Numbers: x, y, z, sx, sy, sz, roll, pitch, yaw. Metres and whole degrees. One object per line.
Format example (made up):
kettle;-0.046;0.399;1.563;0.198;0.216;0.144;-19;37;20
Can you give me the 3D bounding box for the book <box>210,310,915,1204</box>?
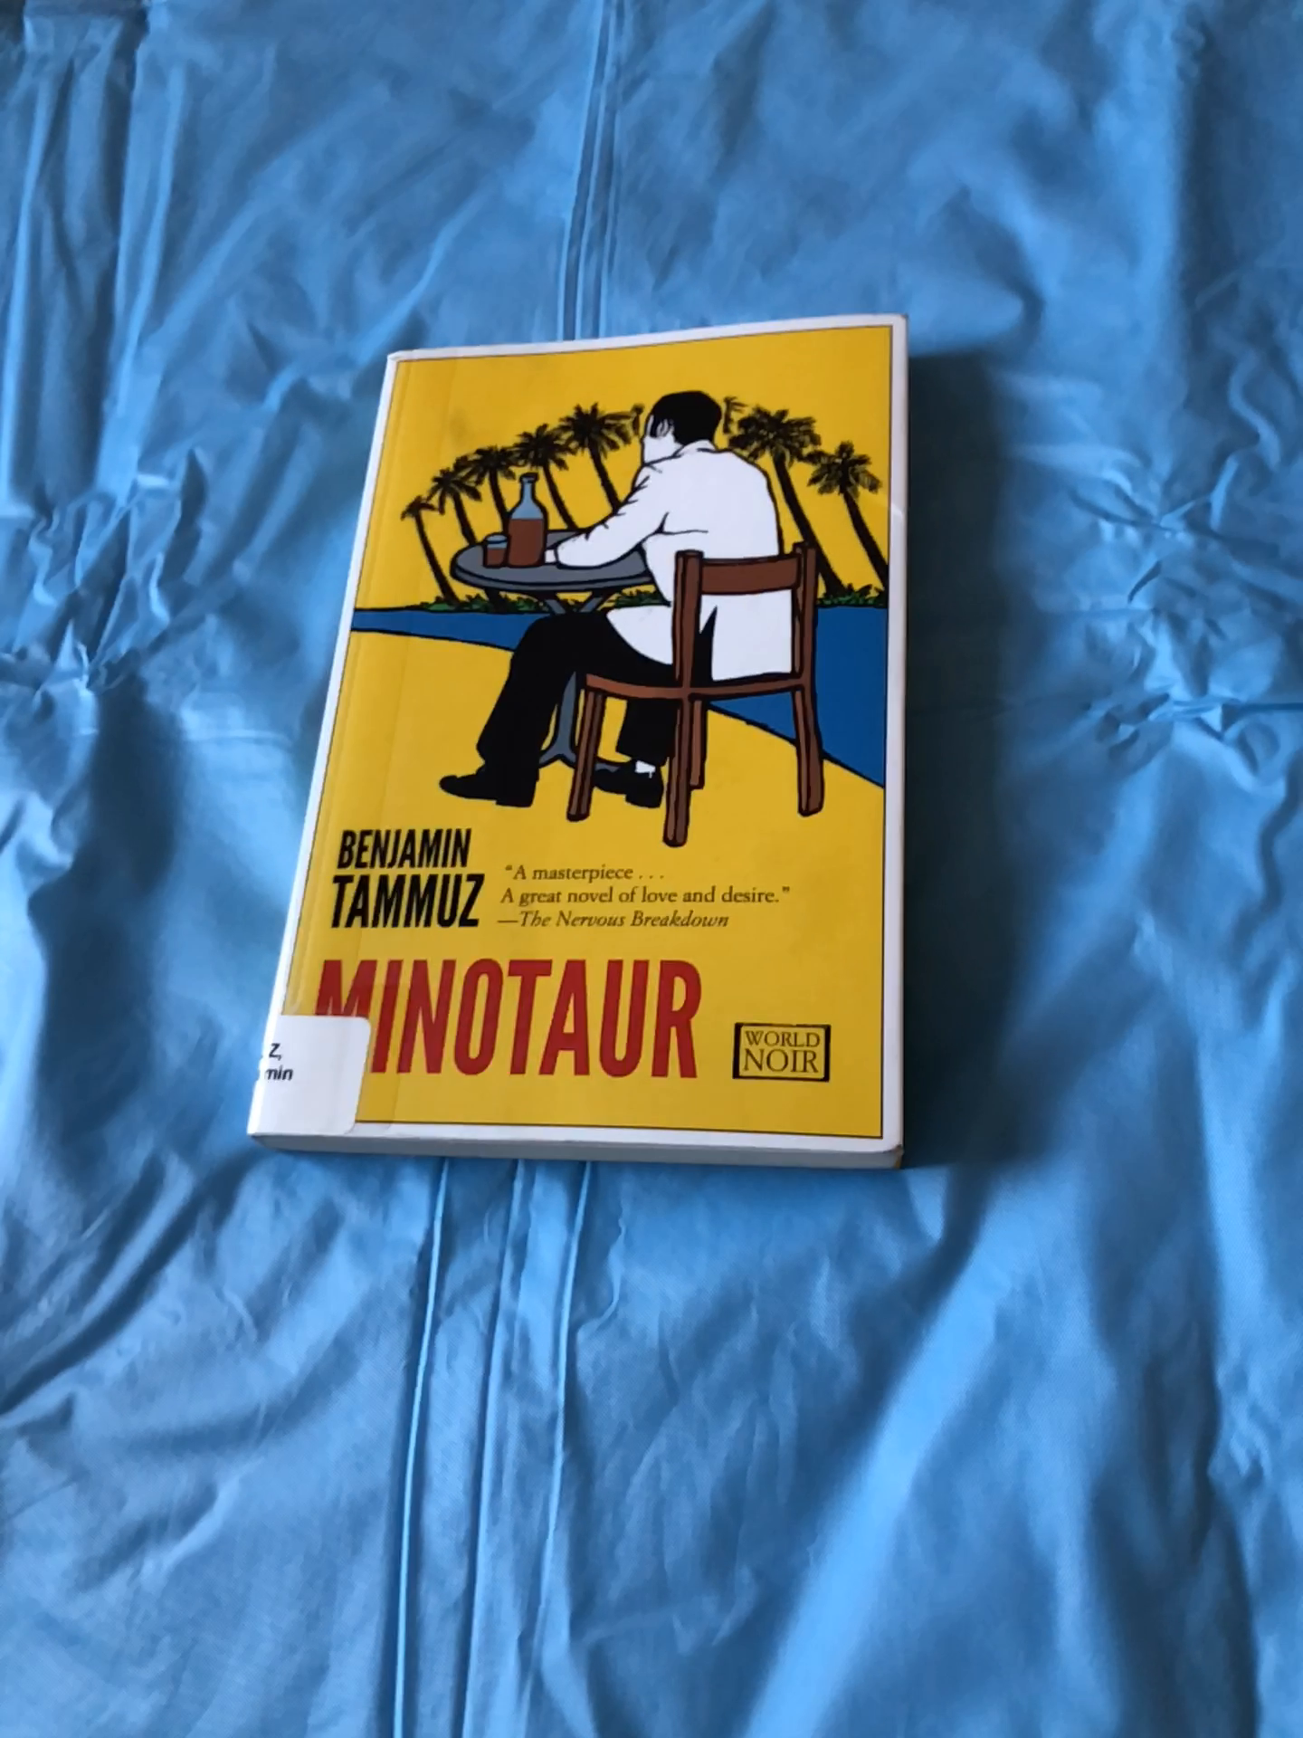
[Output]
book;-0.011;-0.035;0.338;0.142;0.027;0.212;0;66;10
